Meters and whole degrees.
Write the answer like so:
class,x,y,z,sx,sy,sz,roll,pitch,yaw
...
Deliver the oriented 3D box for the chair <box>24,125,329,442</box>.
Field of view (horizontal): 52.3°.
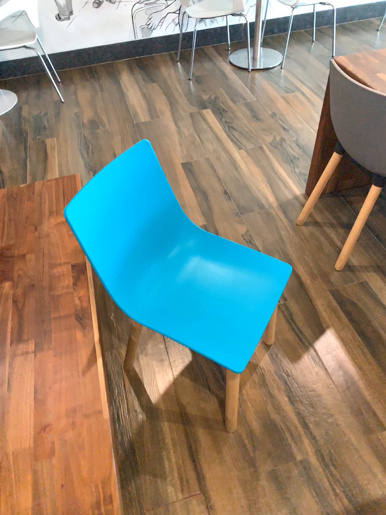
class,x,y,z,sx,sy,sz,roll,pitch,yaw
chair,-0.009,0.075,1.219,0.582,0.665,0.513,21,52,22
